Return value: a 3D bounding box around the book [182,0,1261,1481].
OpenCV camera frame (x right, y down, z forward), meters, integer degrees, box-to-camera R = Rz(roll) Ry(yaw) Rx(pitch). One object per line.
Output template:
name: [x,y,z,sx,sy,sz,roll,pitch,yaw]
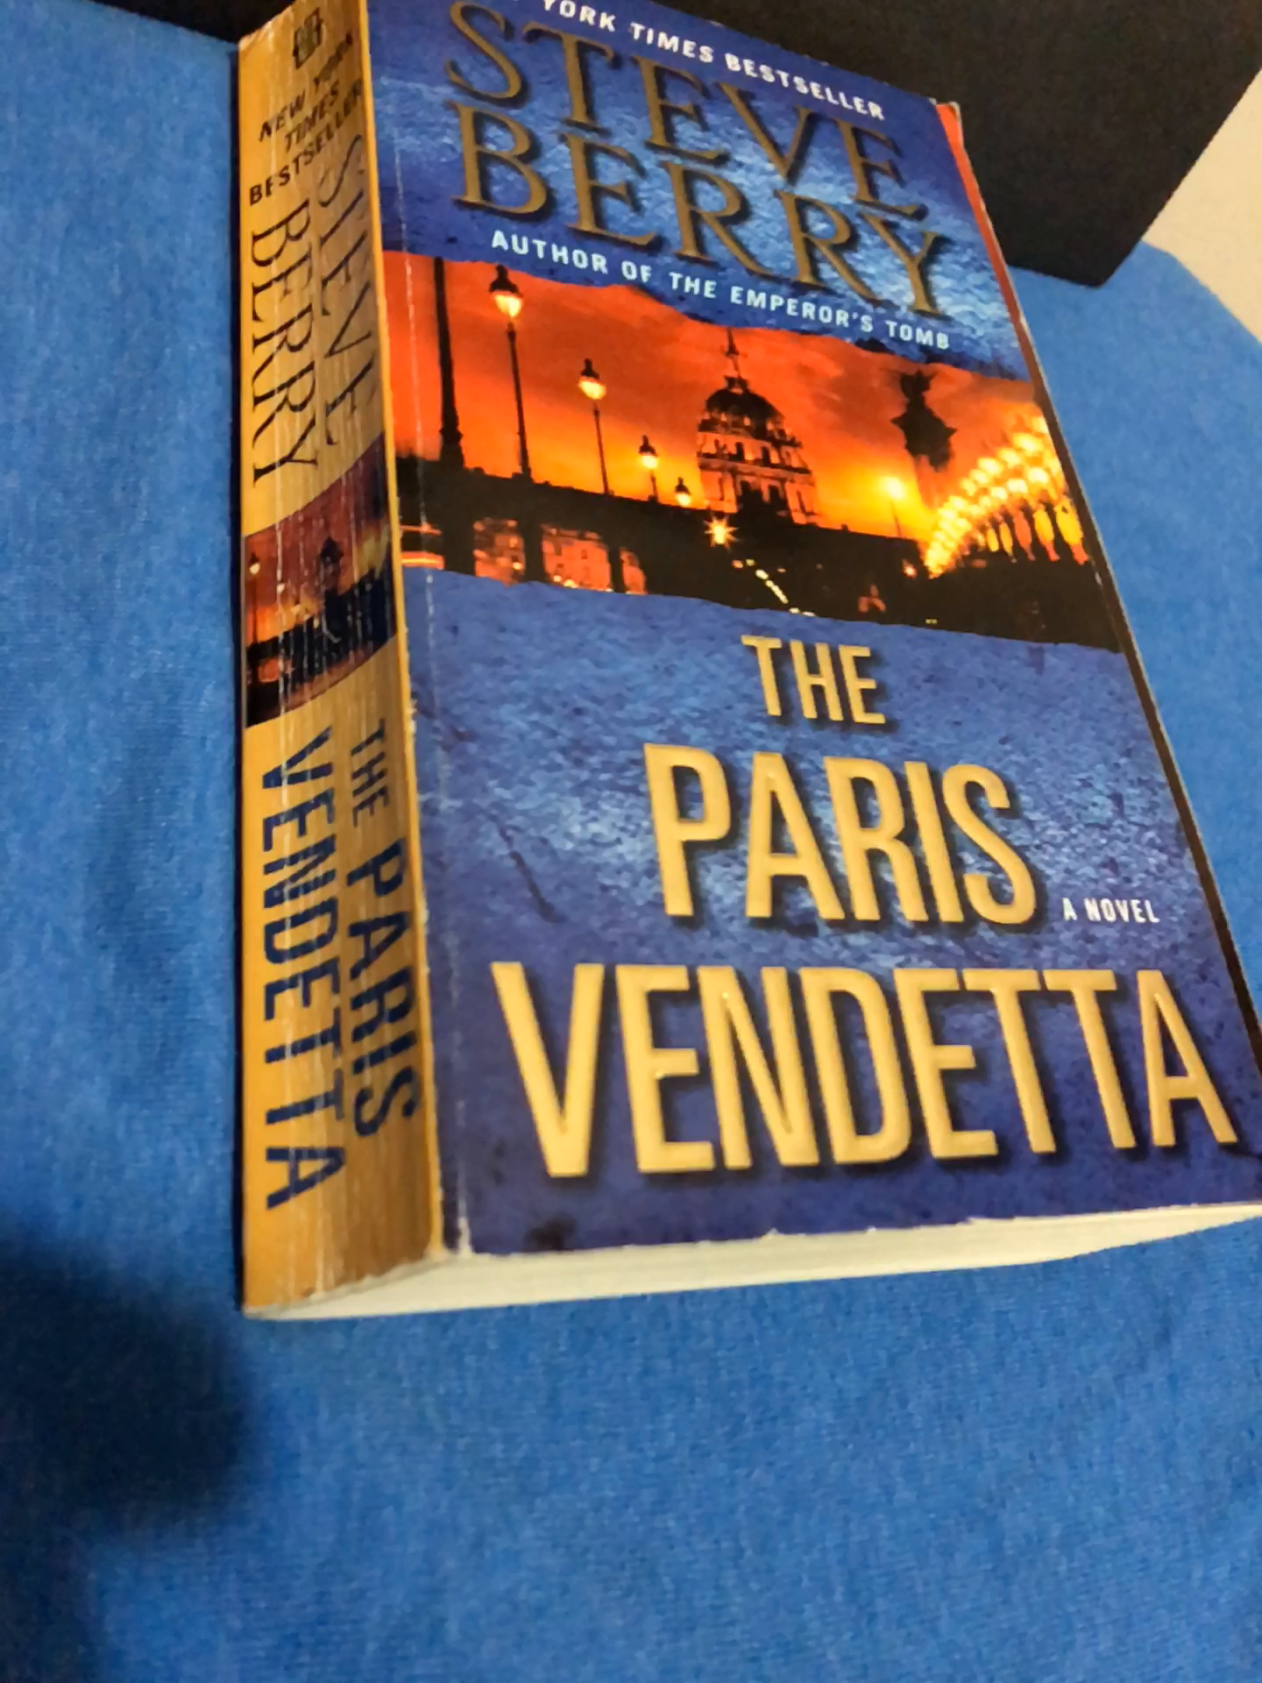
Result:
book: [0.009,-0.034,0.190,0.120,0.050,0.200,6,60,-30]
